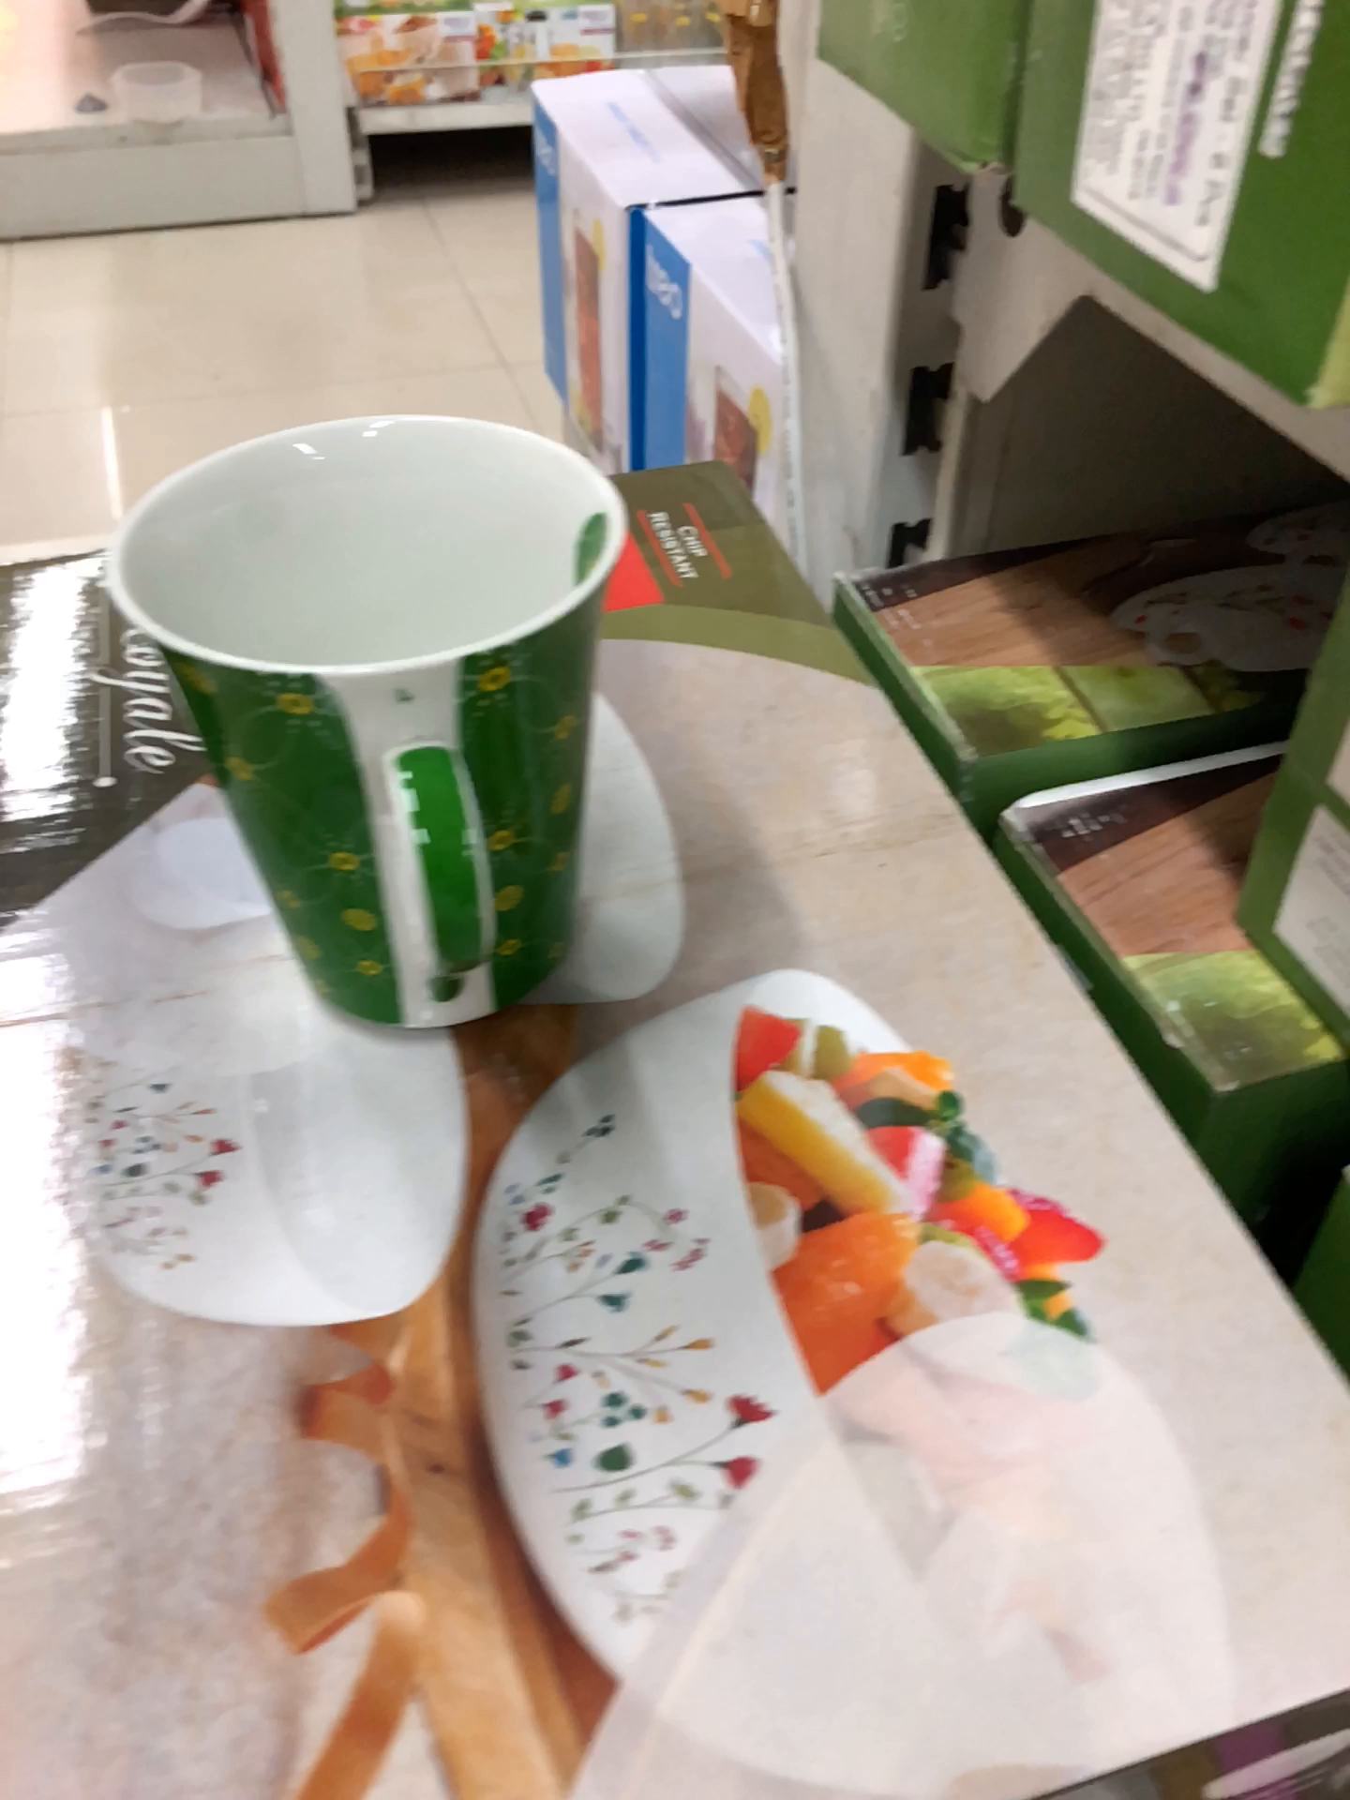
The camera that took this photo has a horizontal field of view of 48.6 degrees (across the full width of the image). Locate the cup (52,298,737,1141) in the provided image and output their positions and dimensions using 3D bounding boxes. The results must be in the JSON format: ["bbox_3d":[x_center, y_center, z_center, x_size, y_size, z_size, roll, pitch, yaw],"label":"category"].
[{"bbox_3d":[-0.051,-0.037,0.266,0.090,0.089,0.111,-10,44,-13],"label":"cup"}]
